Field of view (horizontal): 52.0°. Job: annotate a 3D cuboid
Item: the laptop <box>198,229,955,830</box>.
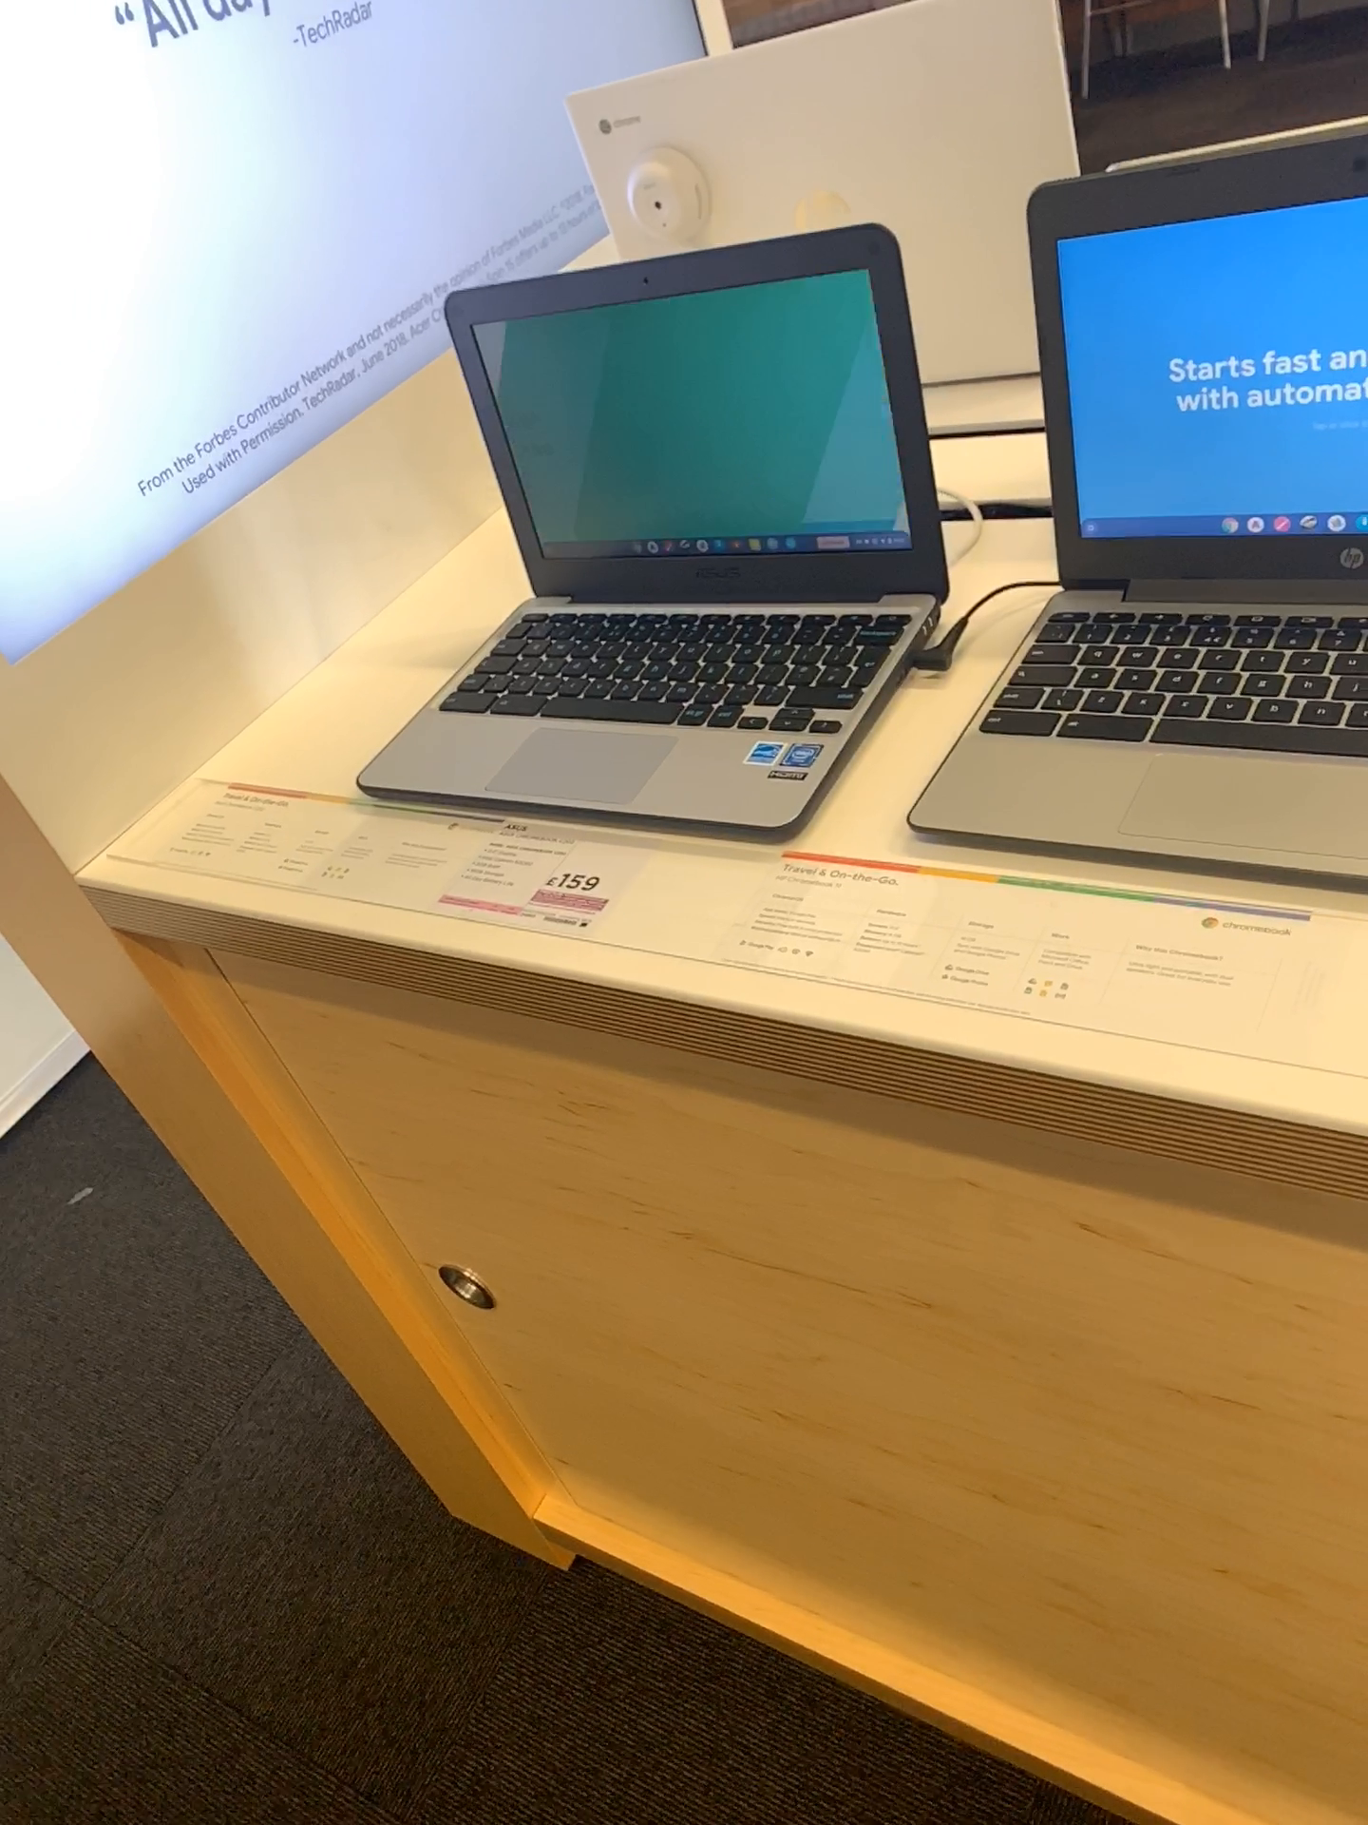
[{"bbox_3d":[-0.045,-0.196,0.722,0.281,0.183,0.216,8,46,33],"label":"laptop"}]
